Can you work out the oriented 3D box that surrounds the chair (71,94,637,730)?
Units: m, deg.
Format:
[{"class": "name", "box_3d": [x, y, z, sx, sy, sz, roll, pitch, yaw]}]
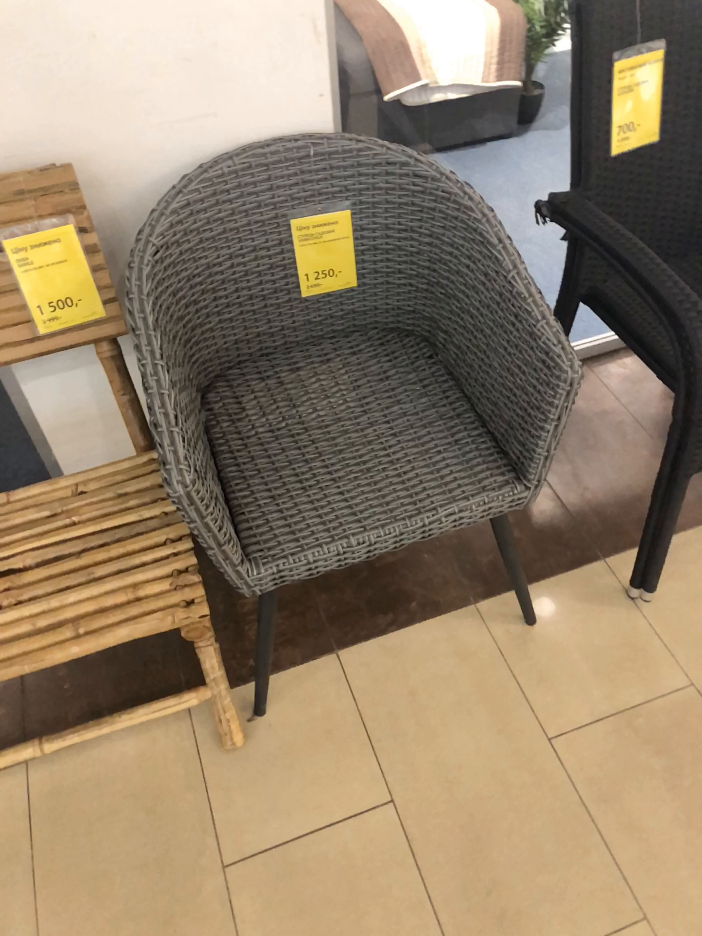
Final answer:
[{"class": "chair", "box_3d": [-0.018, -0.072, 1.236, 0.570, 0.737, 0.522, -17, 48, -11]}]
